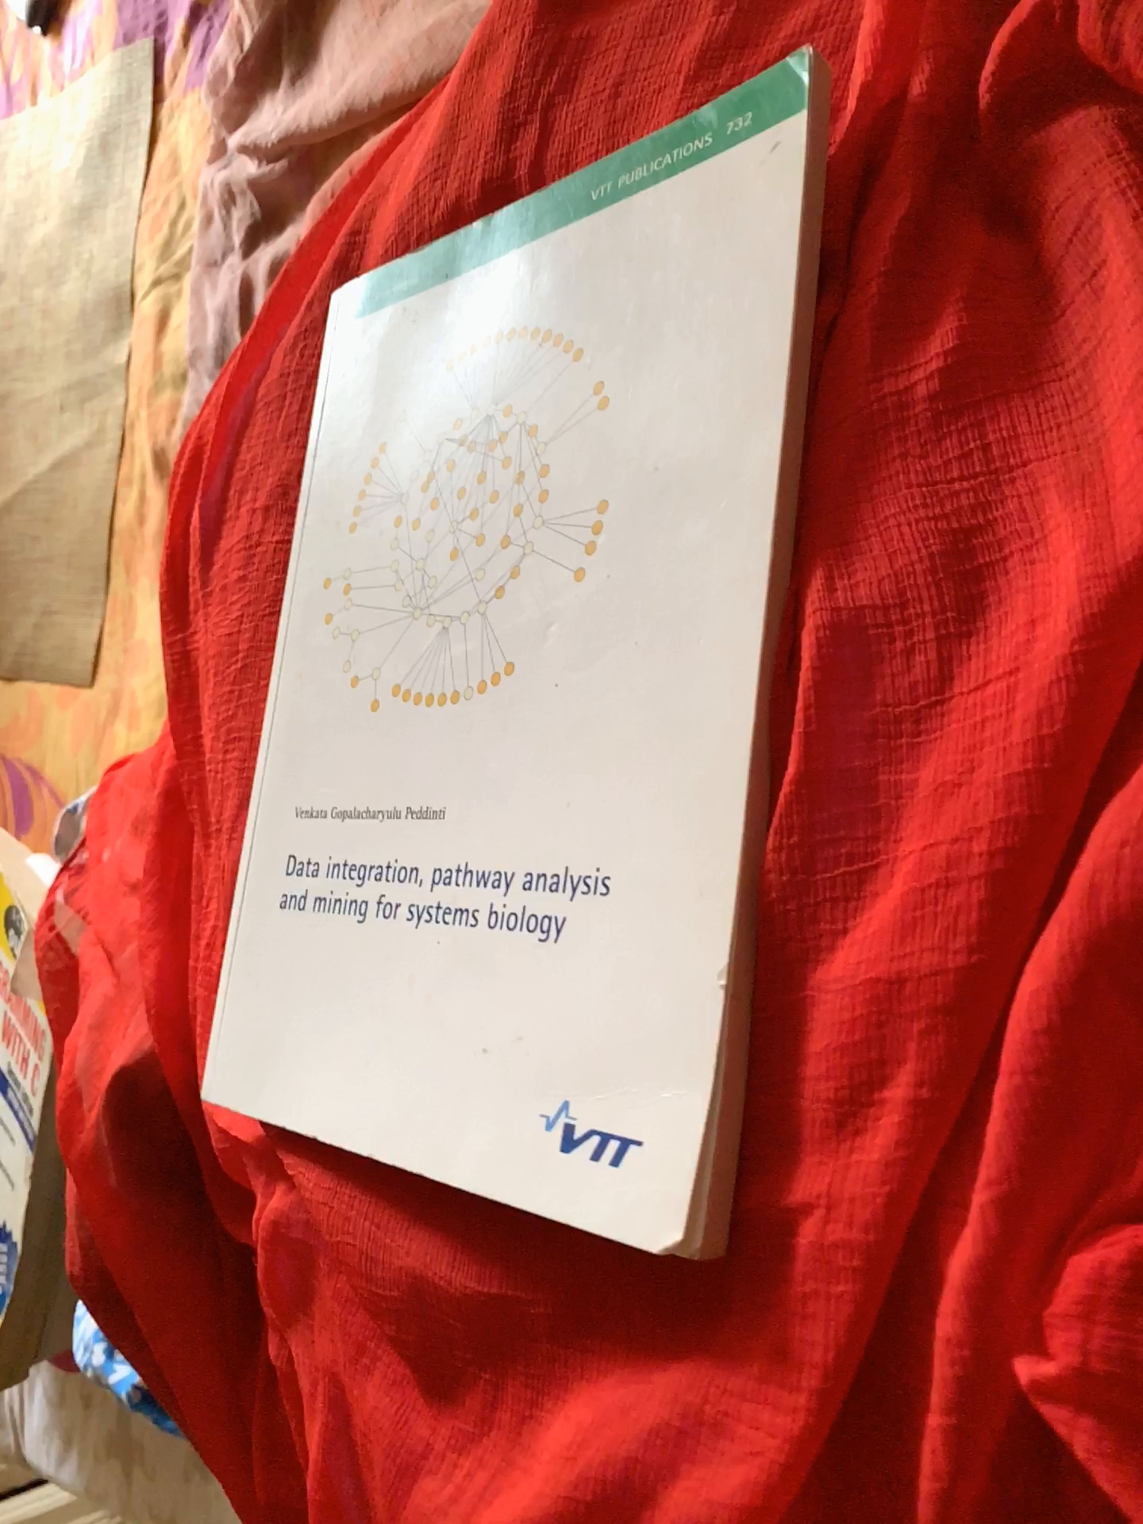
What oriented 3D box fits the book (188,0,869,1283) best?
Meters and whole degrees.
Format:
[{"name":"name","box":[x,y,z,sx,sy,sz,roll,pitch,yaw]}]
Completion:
[{"name":"book","box":[-0.020,-0.035,0.303,0.181,0.020,0.270,-3,75,45]}]
